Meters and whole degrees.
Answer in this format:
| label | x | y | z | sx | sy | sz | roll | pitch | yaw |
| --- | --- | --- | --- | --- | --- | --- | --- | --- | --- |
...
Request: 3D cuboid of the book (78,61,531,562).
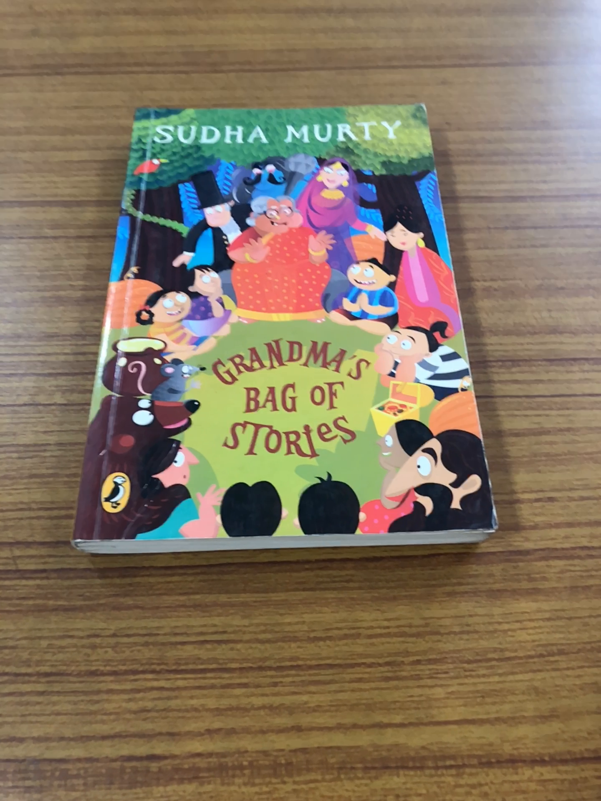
| label | x | y | z | sx | sy | sz | roll | pitch | yaw |
| --- | --- | --- | --- | --- | --- | --- | --- | --- | --- |
| book | -0.001 | -0.048 | 0.258 | 0.130 | 0.030 | 0.210 | -2 | 61 | 0 |
